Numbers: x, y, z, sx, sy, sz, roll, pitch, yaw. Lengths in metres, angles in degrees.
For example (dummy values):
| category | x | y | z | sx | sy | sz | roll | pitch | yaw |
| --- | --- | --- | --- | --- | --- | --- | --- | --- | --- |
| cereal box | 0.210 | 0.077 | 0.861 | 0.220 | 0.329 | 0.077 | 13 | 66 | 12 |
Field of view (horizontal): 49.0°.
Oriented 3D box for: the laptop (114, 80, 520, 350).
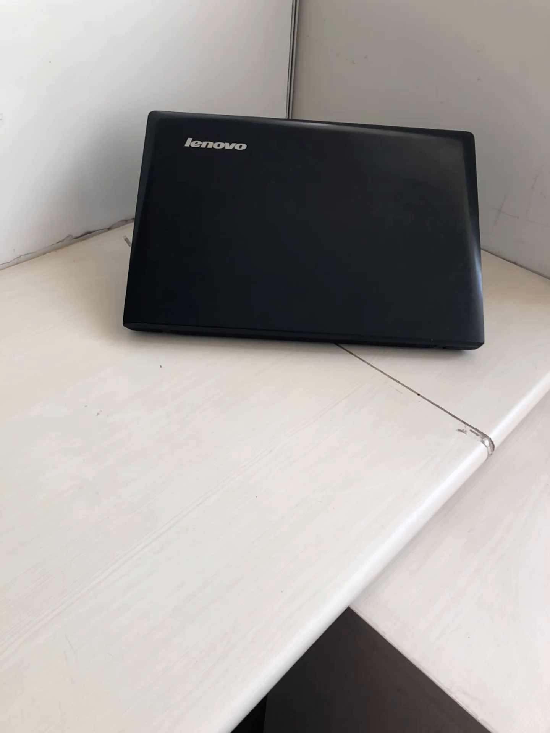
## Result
| category | x | y | z | sx | sy | sz | roll | pitch | yaw |
| --- | --- | --- | --- | --- | --- | --- | --- | --- | --- |
| laptop | 0.040 | -0.182 | 0.694 | 0.374 | 0.161 | 0.254 | 3 | 44 | -1 |
